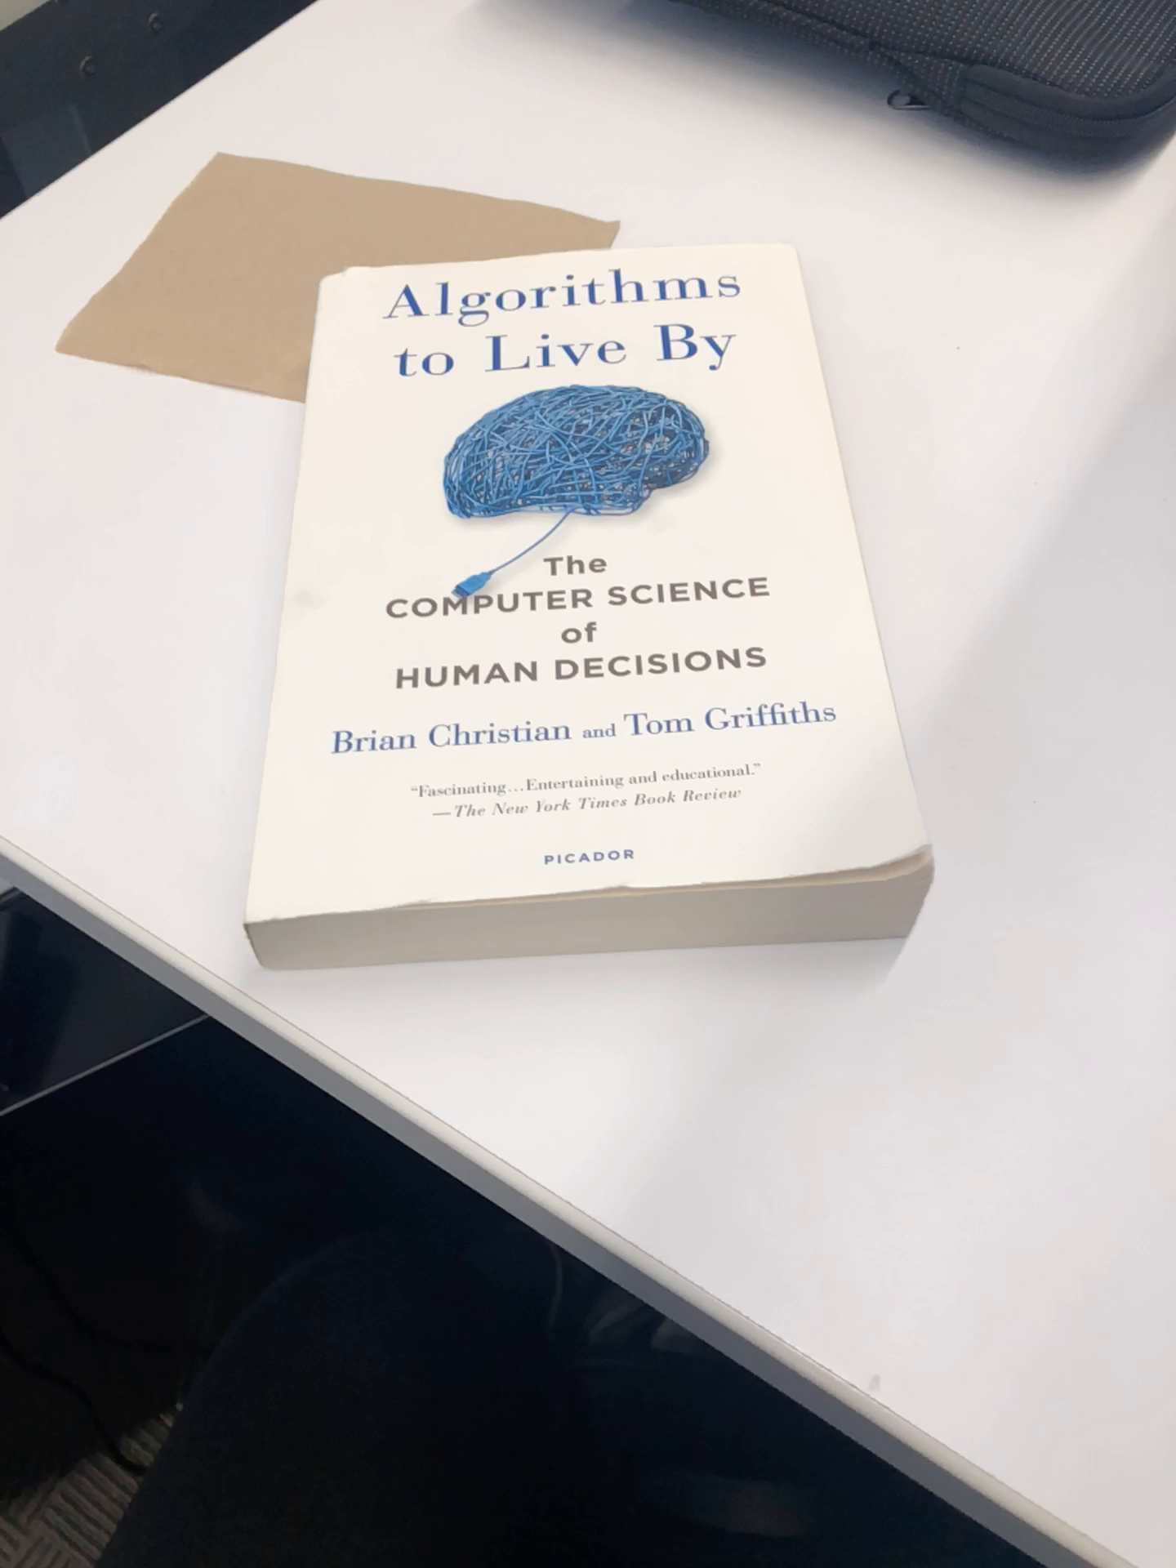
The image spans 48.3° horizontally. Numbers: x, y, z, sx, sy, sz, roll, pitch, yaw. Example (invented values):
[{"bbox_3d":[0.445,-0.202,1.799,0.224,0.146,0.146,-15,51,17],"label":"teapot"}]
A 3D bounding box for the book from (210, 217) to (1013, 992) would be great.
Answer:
[{"bbox_3d":[0.000,-0.060,0.340,0.160,0.040,0.221,-4,55,1],"label":"book"}]
